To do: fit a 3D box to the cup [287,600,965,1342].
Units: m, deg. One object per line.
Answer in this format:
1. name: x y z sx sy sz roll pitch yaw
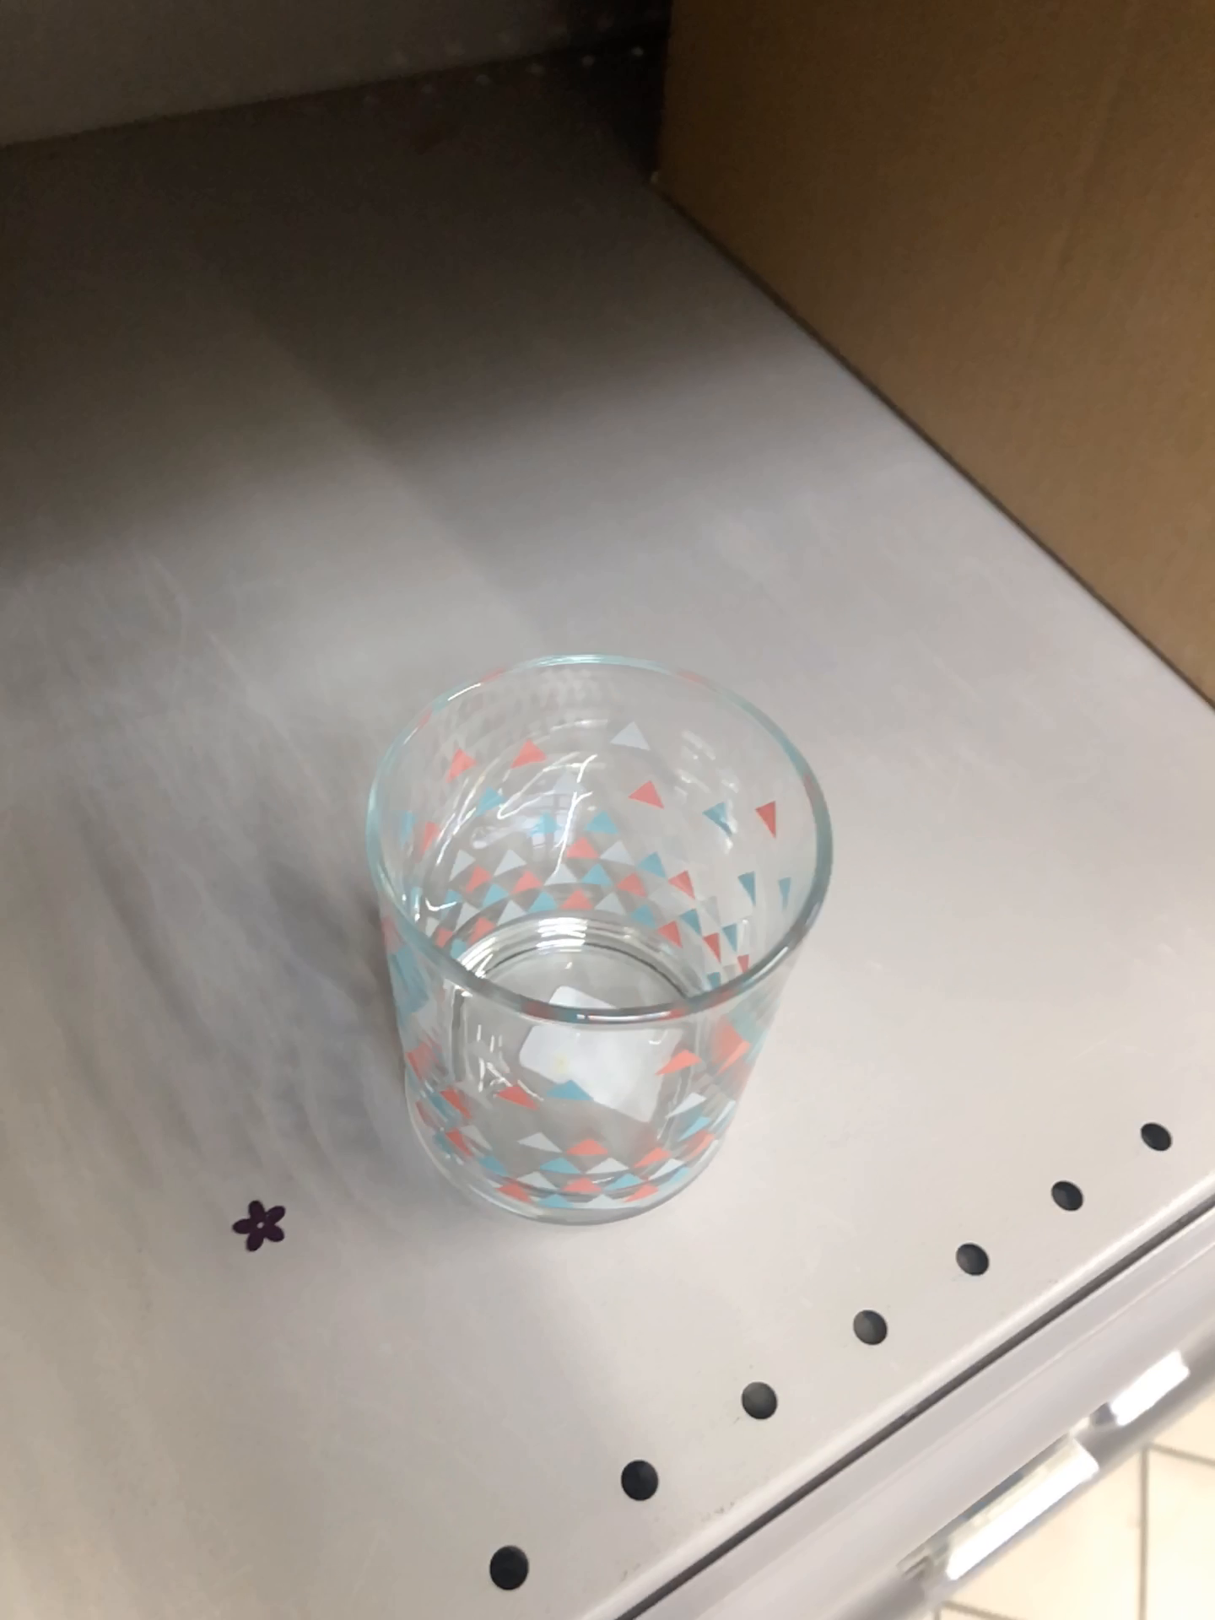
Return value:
1. cup: -0.002 0.028 0.239 0.077 0.081 0.077 3 51 -4
